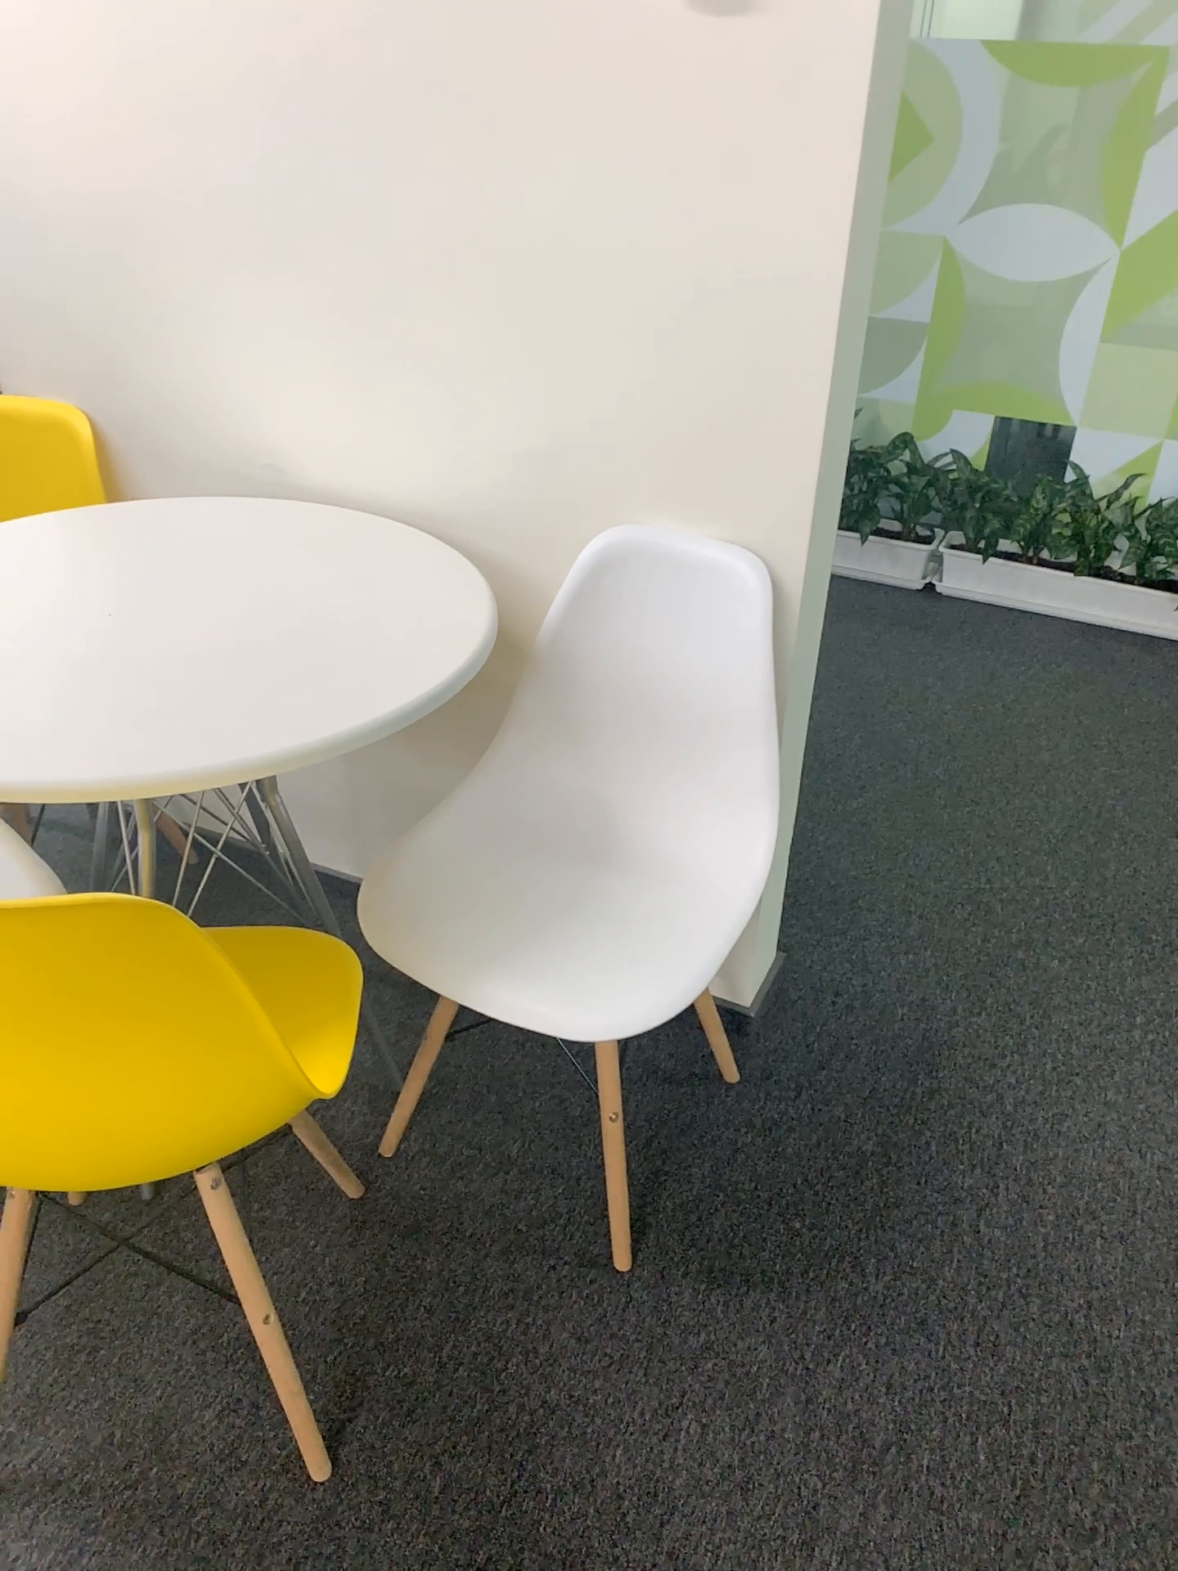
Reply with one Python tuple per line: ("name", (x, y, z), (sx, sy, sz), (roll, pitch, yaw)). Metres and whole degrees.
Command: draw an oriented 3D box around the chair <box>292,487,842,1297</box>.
("chair", (-0.021, 0.131, 1.604), (0.480, 0.875, 0.442), (16, 34, 22))
